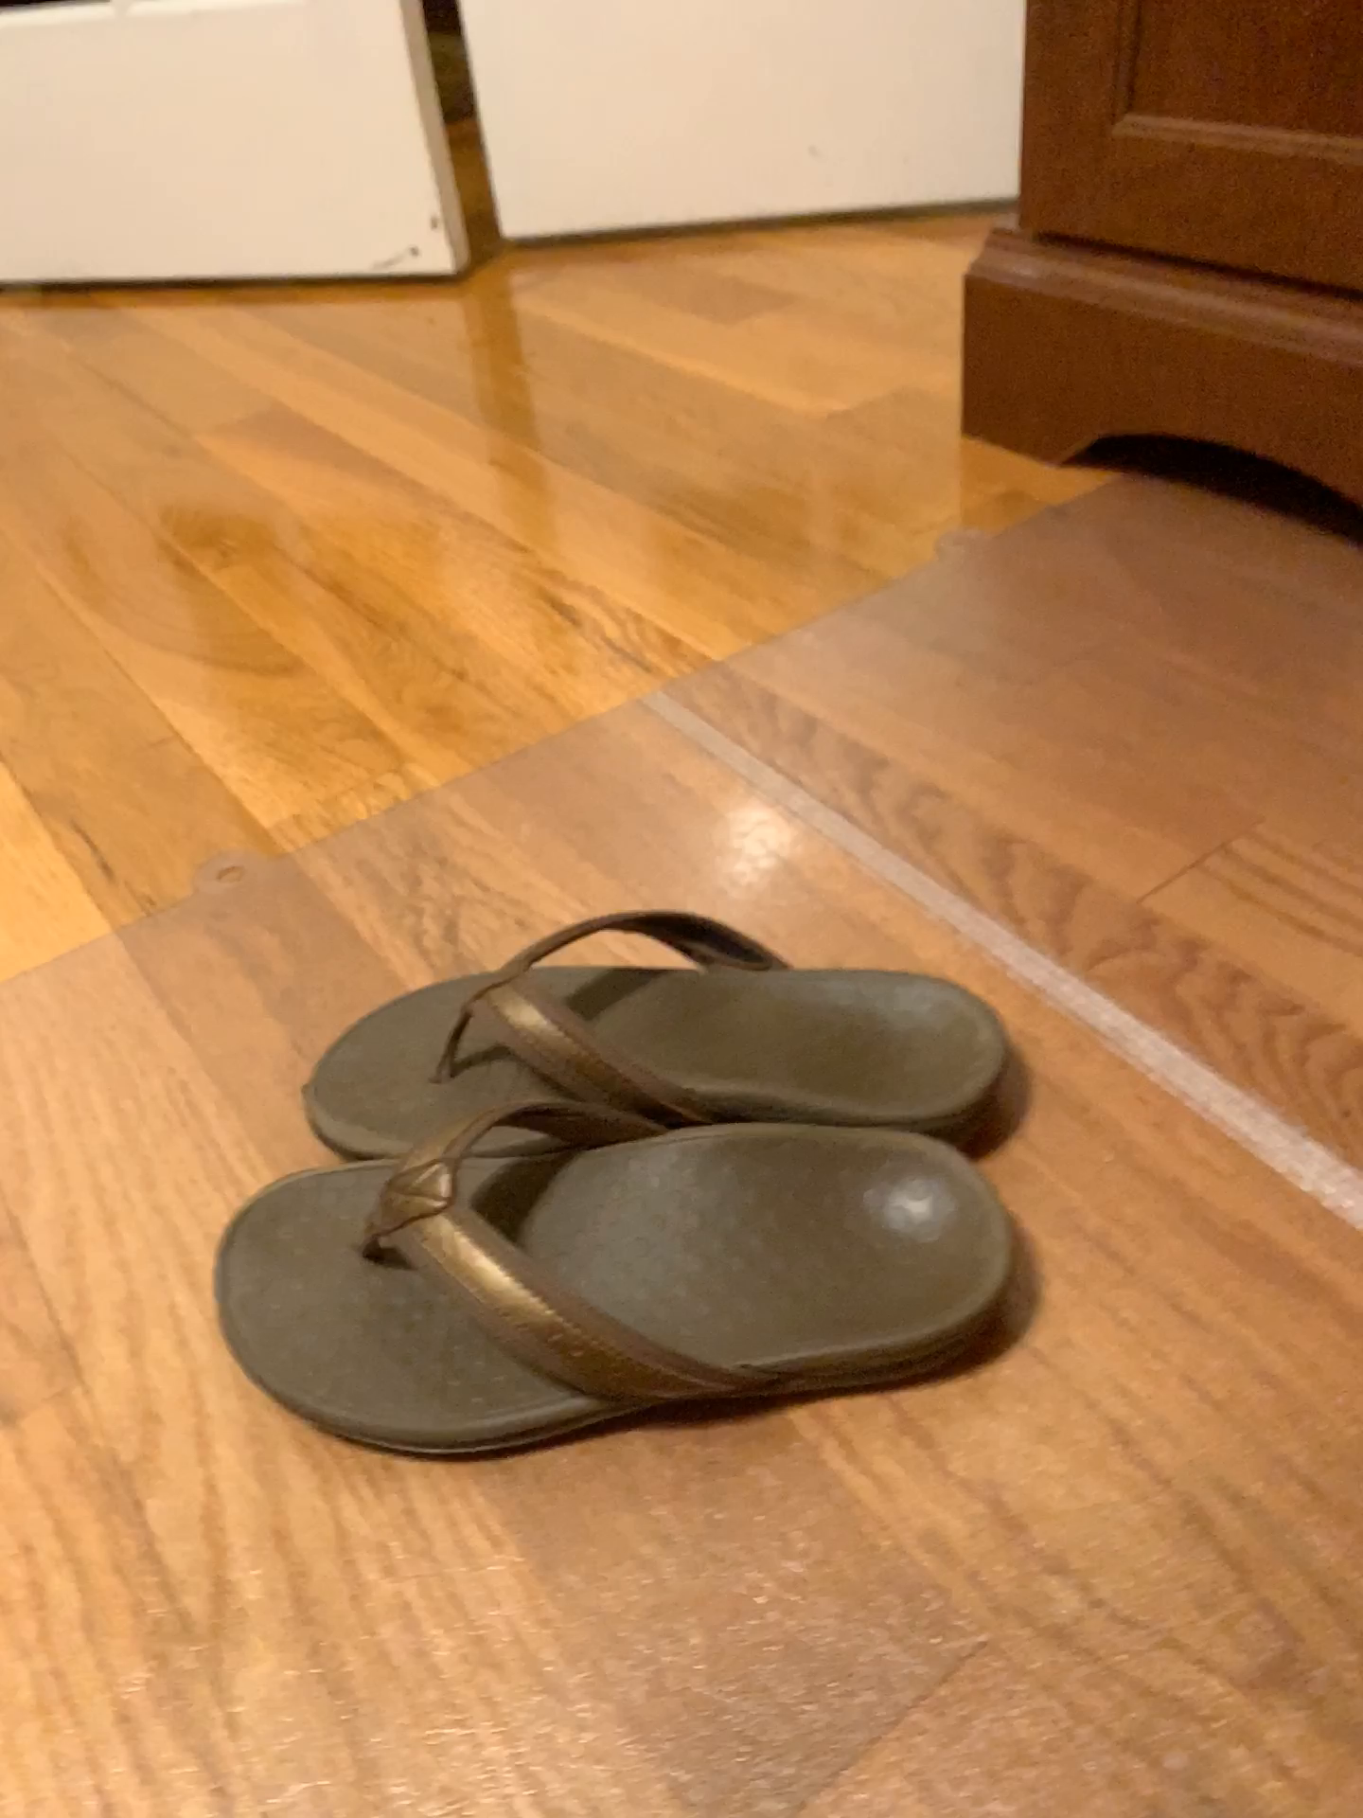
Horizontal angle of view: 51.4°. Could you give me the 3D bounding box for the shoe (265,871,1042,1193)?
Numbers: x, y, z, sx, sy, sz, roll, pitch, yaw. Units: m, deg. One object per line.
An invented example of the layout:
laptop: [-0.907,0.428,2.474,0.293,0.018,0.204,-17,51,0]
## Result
shoe: [-0.008,0.043,0.503,0.250,0.049,0.092,-4,39,6]

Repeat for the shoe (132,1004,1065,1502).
shoe: [-0.022,0.101,0.428,0.246,0.061,0.100,-8,39,1]
